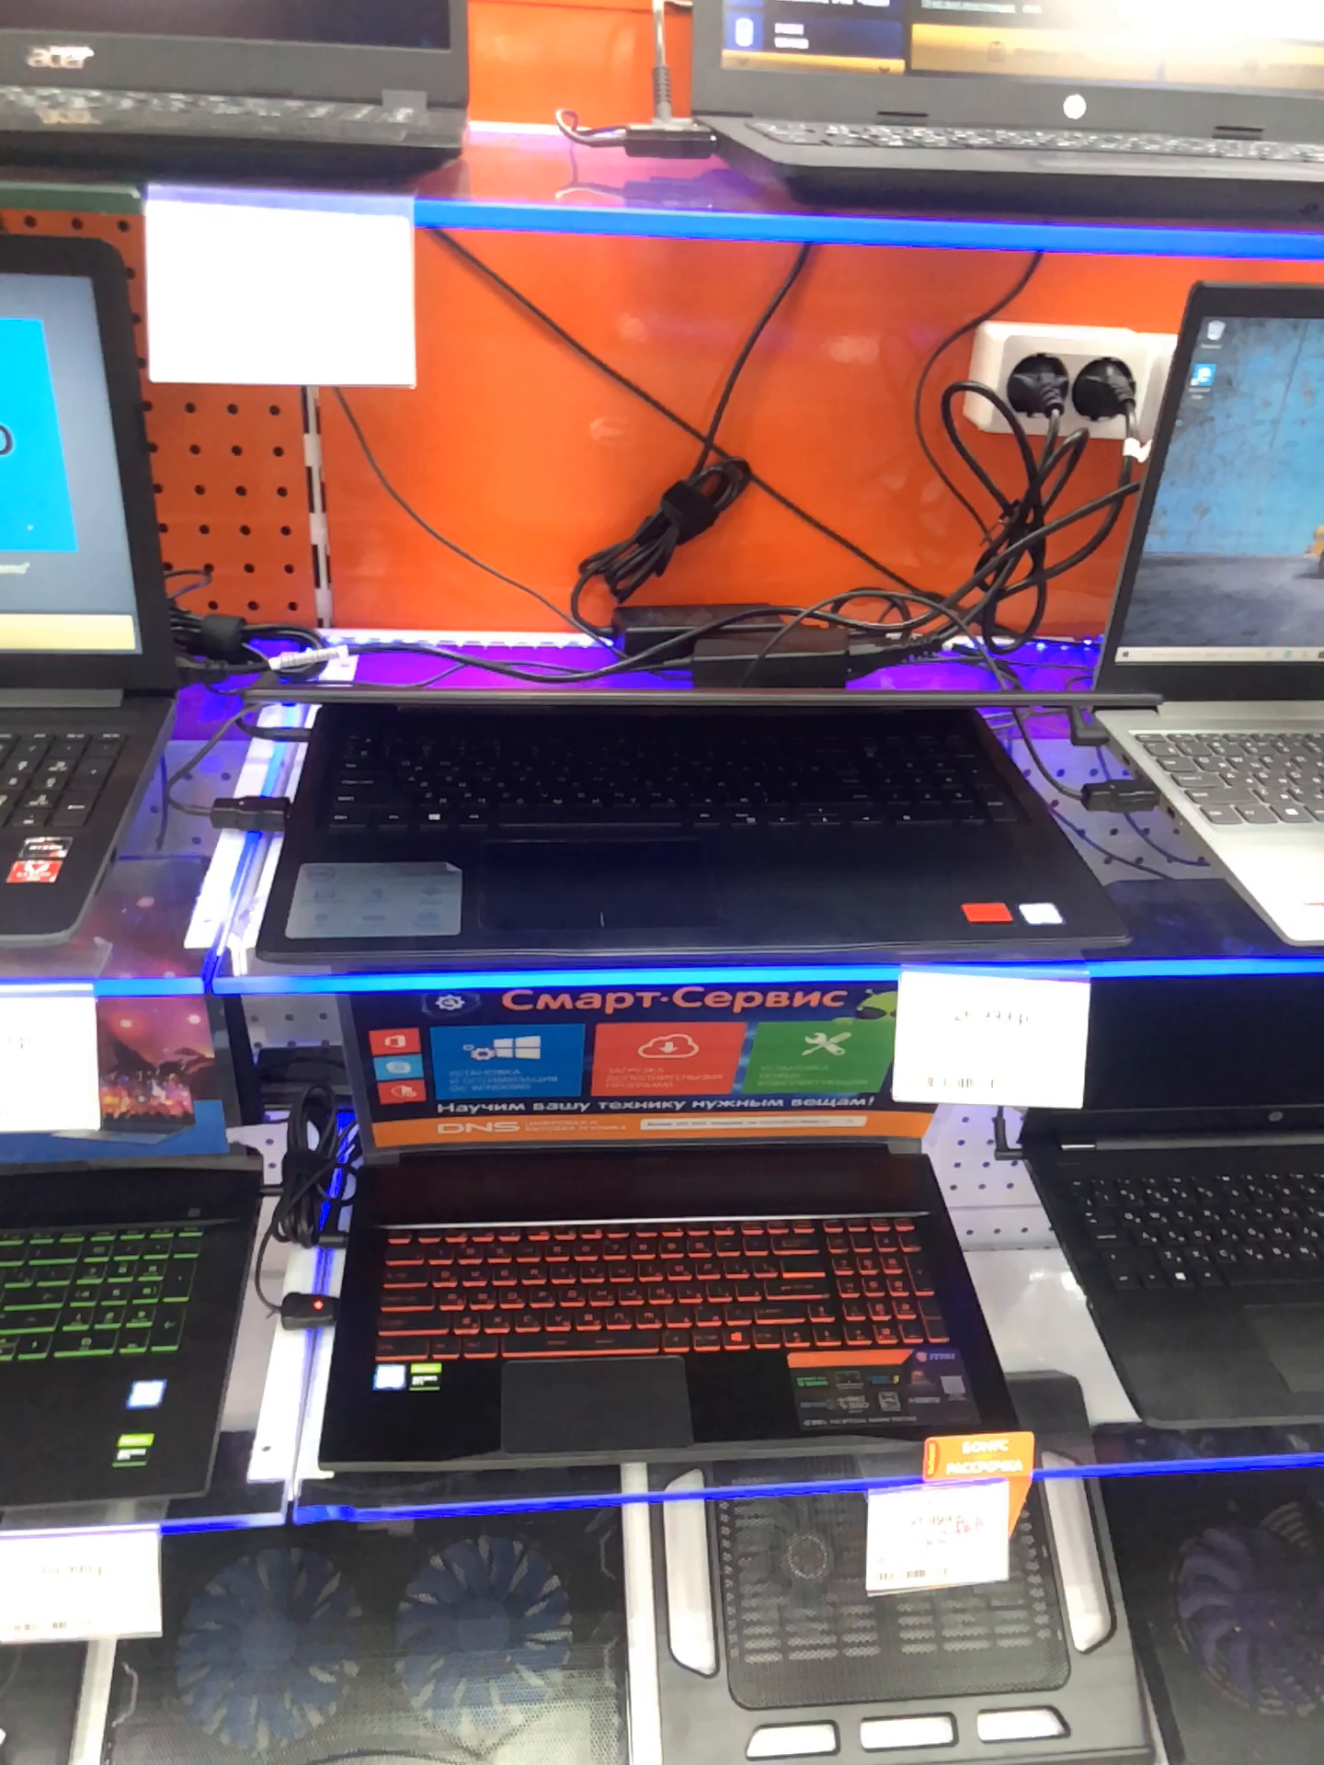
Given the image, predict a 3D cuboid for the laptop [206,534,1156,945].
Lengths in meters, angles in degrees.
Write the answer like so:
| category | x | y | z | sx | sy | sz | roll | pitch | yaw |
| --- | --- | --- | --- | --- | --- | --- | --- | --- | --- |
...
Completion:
| category | x | y | z | sx | sy | sz | roll | pitch | yaw |
| --- | --- | --- | --- | --- | --- | --- | --- | --- | --- |
| laptop | 0.002 | -0.082 | 0.690 | 0.371 | 0.100 | 0.239 | -1 | 30 | -6 |
